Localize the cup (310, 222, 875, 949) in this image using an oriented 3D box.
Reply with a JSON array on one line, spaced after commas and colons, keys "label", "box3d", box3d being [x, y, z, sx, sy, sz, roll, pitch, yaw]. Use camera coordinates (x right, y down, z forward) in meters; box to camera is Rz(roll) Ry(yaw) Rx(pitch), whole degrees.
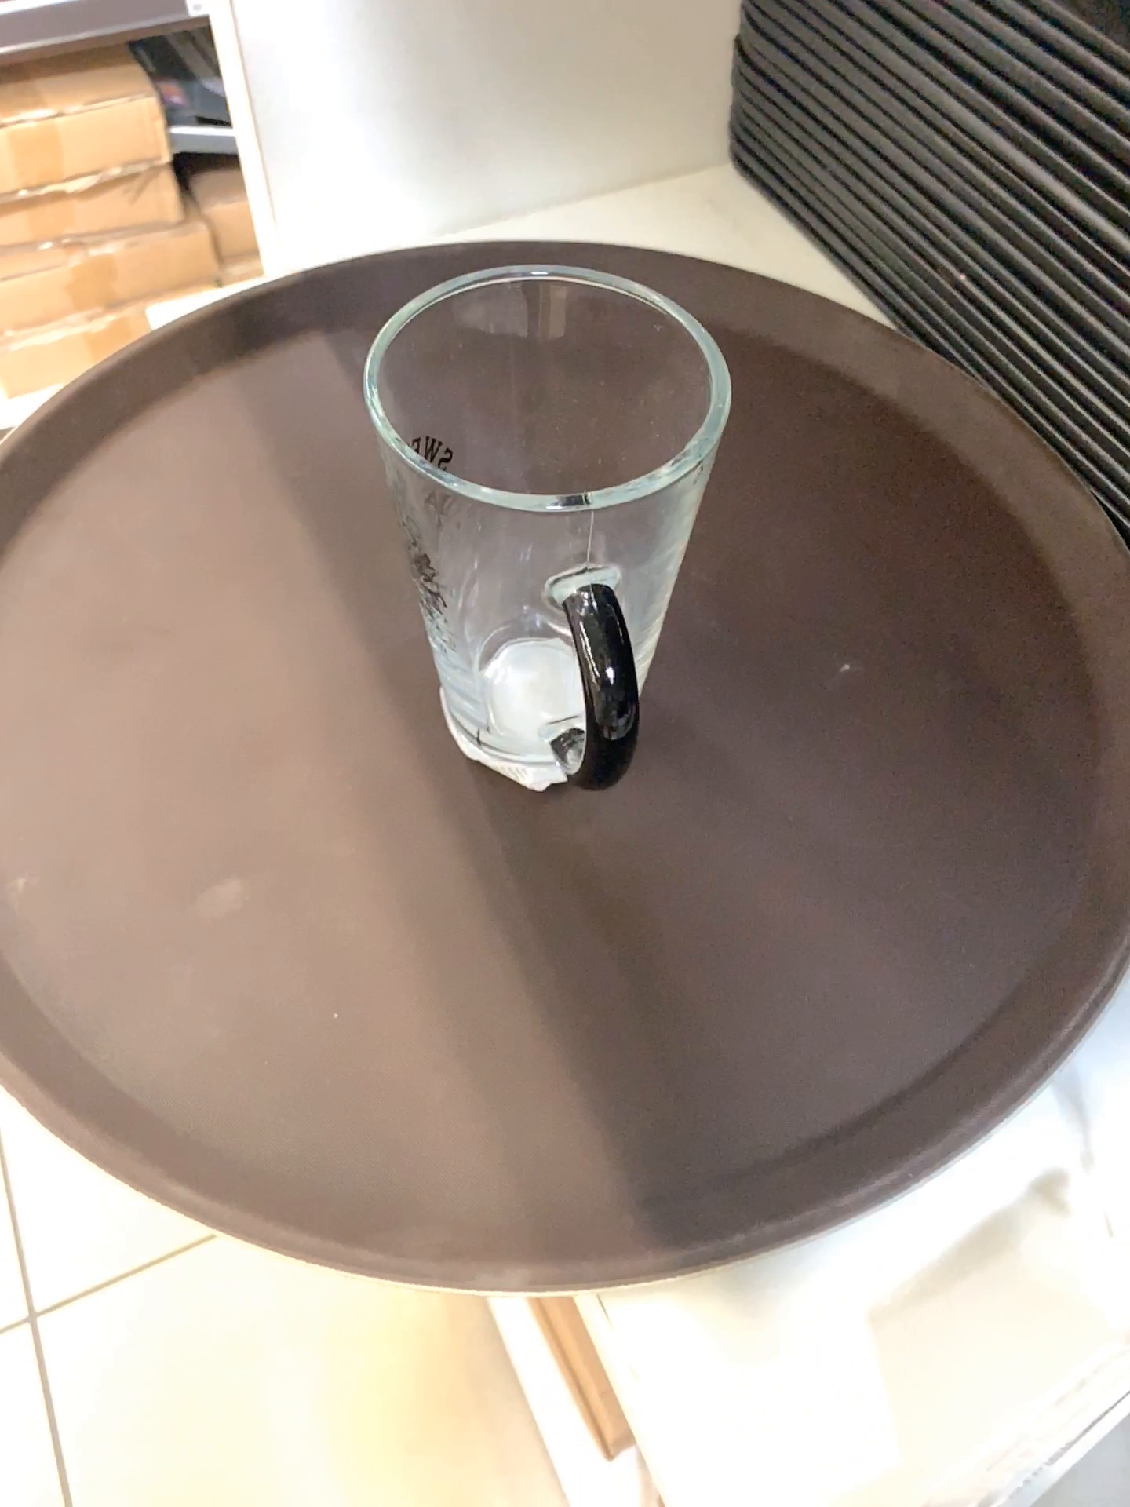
[{"label": "cup", "box3d": [-0.002, -0.040, 0.298, 0.090, 0.120, 0.120, -12, 56, -10]}]
